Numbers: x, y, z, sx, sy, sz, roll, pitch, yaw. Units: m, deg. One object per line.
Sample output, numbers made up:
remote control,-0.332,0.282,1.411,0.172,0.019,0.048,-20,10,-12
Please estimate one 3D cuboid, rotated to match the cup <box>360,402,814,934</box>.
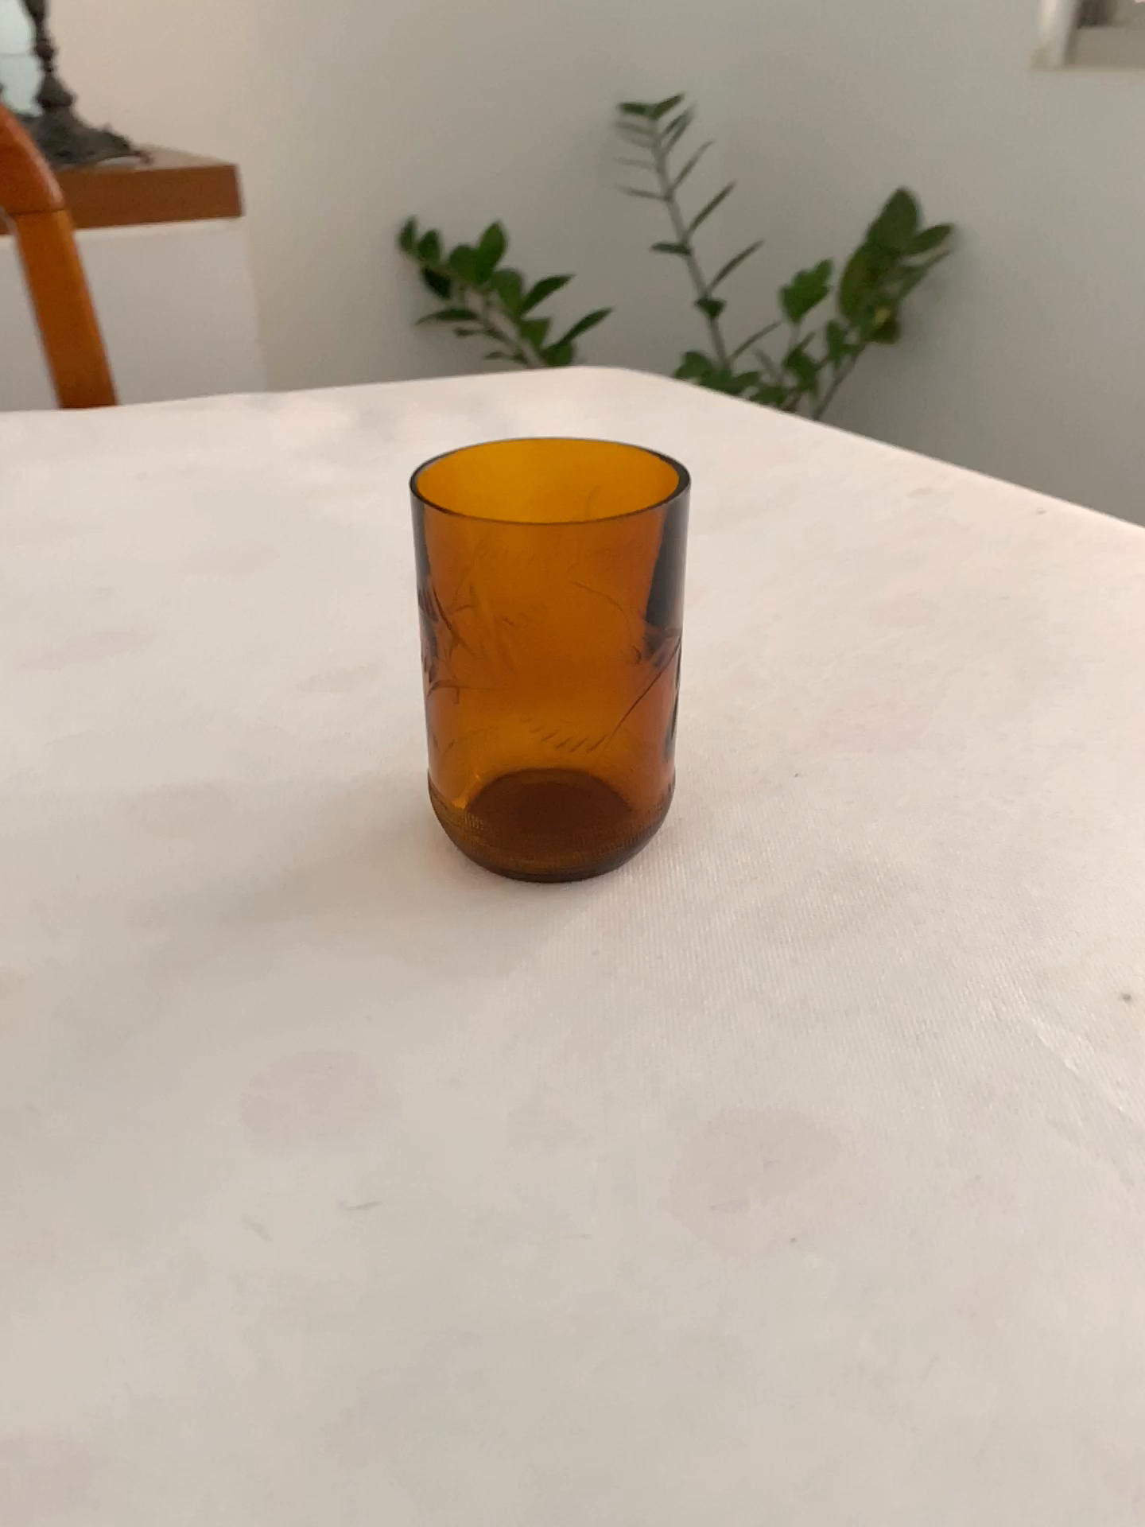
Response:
cup,0.001,-0.027,0.276,0.070,0.089,0.070,0,31,0
